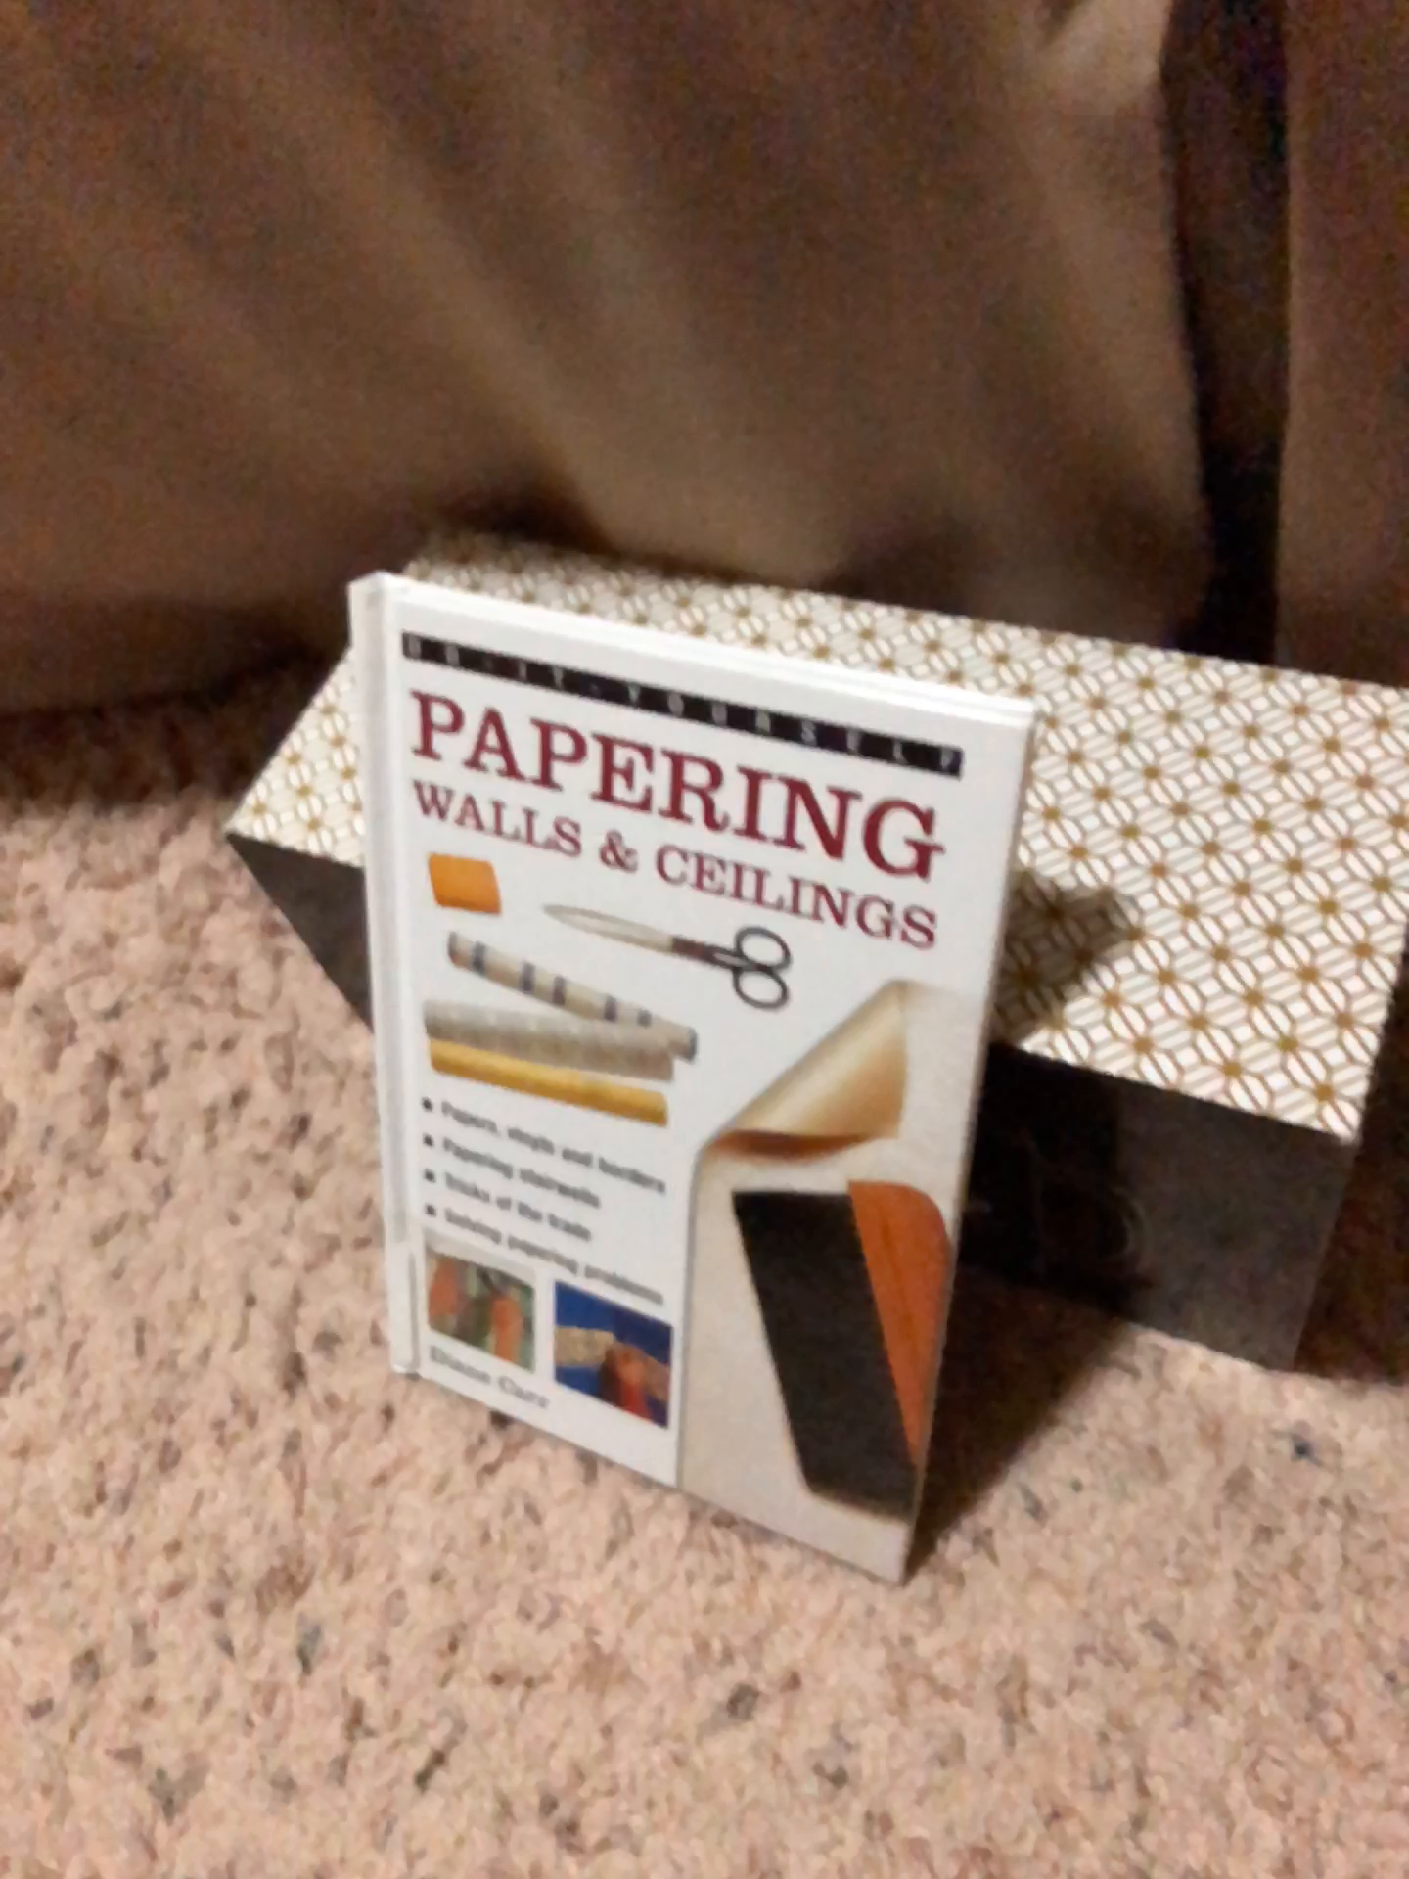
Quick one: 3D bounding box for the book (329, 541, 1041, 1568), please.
[{"bbox_3d":[-0.013,0.029,0.342,0.143,0.207,0.015,16,30,23],"label":"book"}]
